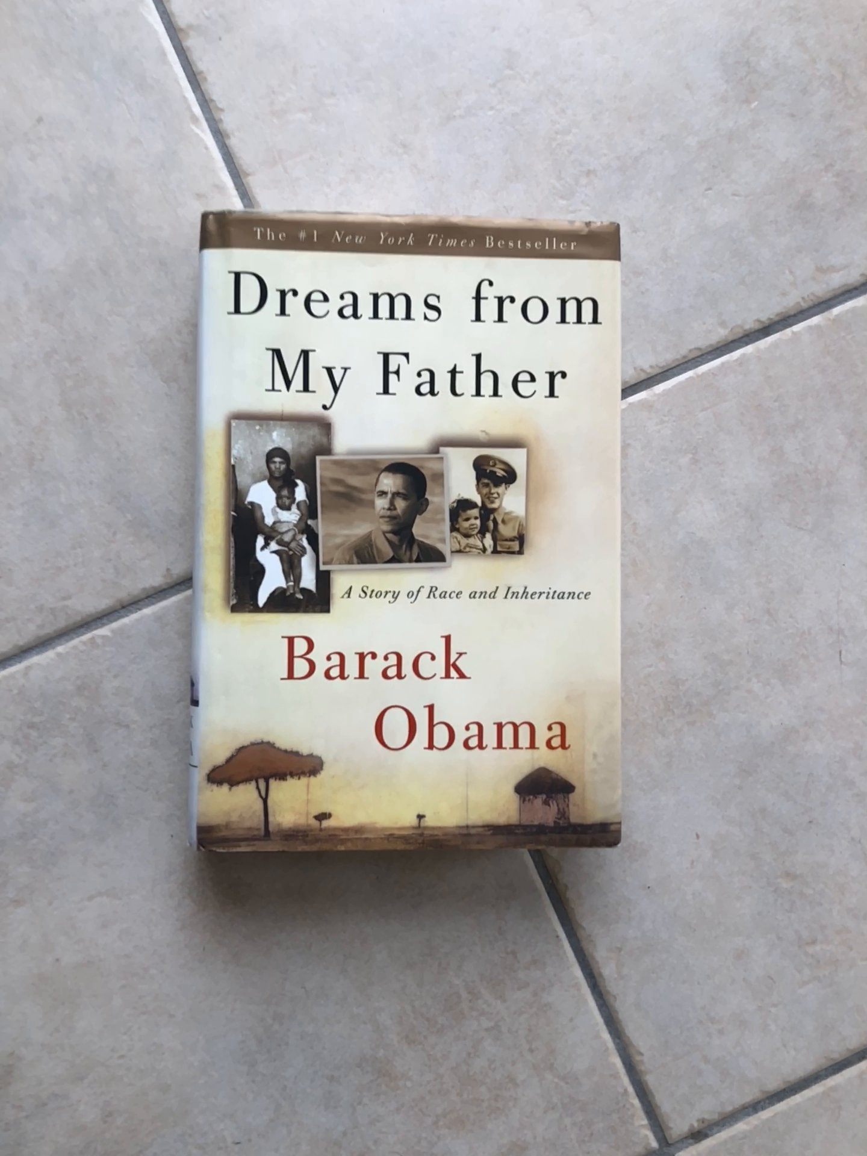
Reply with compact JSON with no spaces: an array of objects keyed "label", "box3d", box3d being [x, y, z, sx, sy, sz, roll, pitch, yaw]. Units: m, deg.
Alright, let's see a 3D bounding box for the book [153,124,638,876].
[{"label":"book","box3d":[-0.013,-0.027,0.373,0.170,0.050,0.270,2,88,-3]}]
